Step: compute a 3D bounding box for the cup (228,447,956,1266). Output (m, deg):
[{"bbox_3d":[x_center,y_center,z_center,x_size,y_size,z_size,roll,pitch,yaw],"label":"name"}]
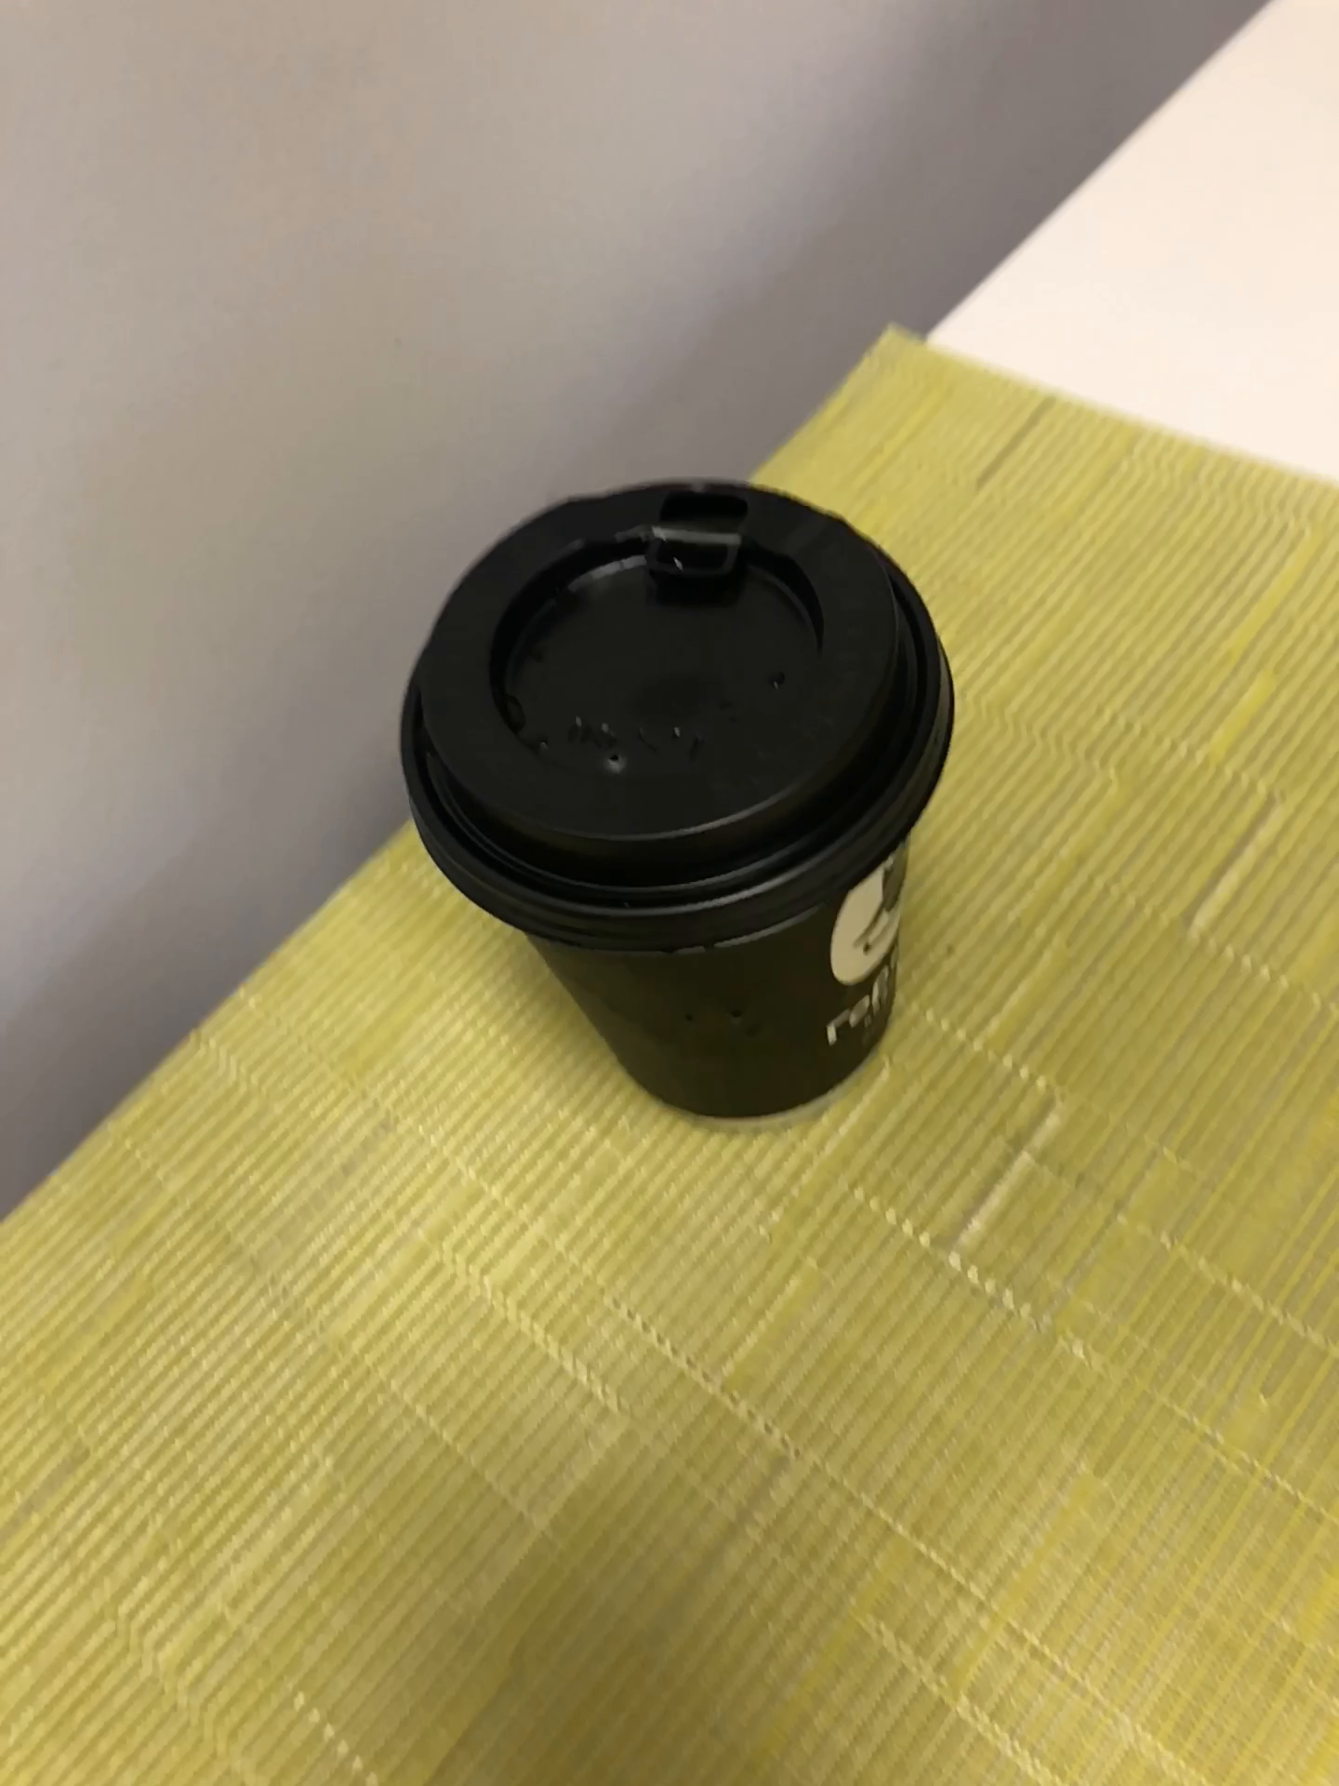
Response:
[{"bbox_3d":[-0.002,-0.004,0.296,0.090,0.120,0.092,-6,56,8],"label":"cup"}]
